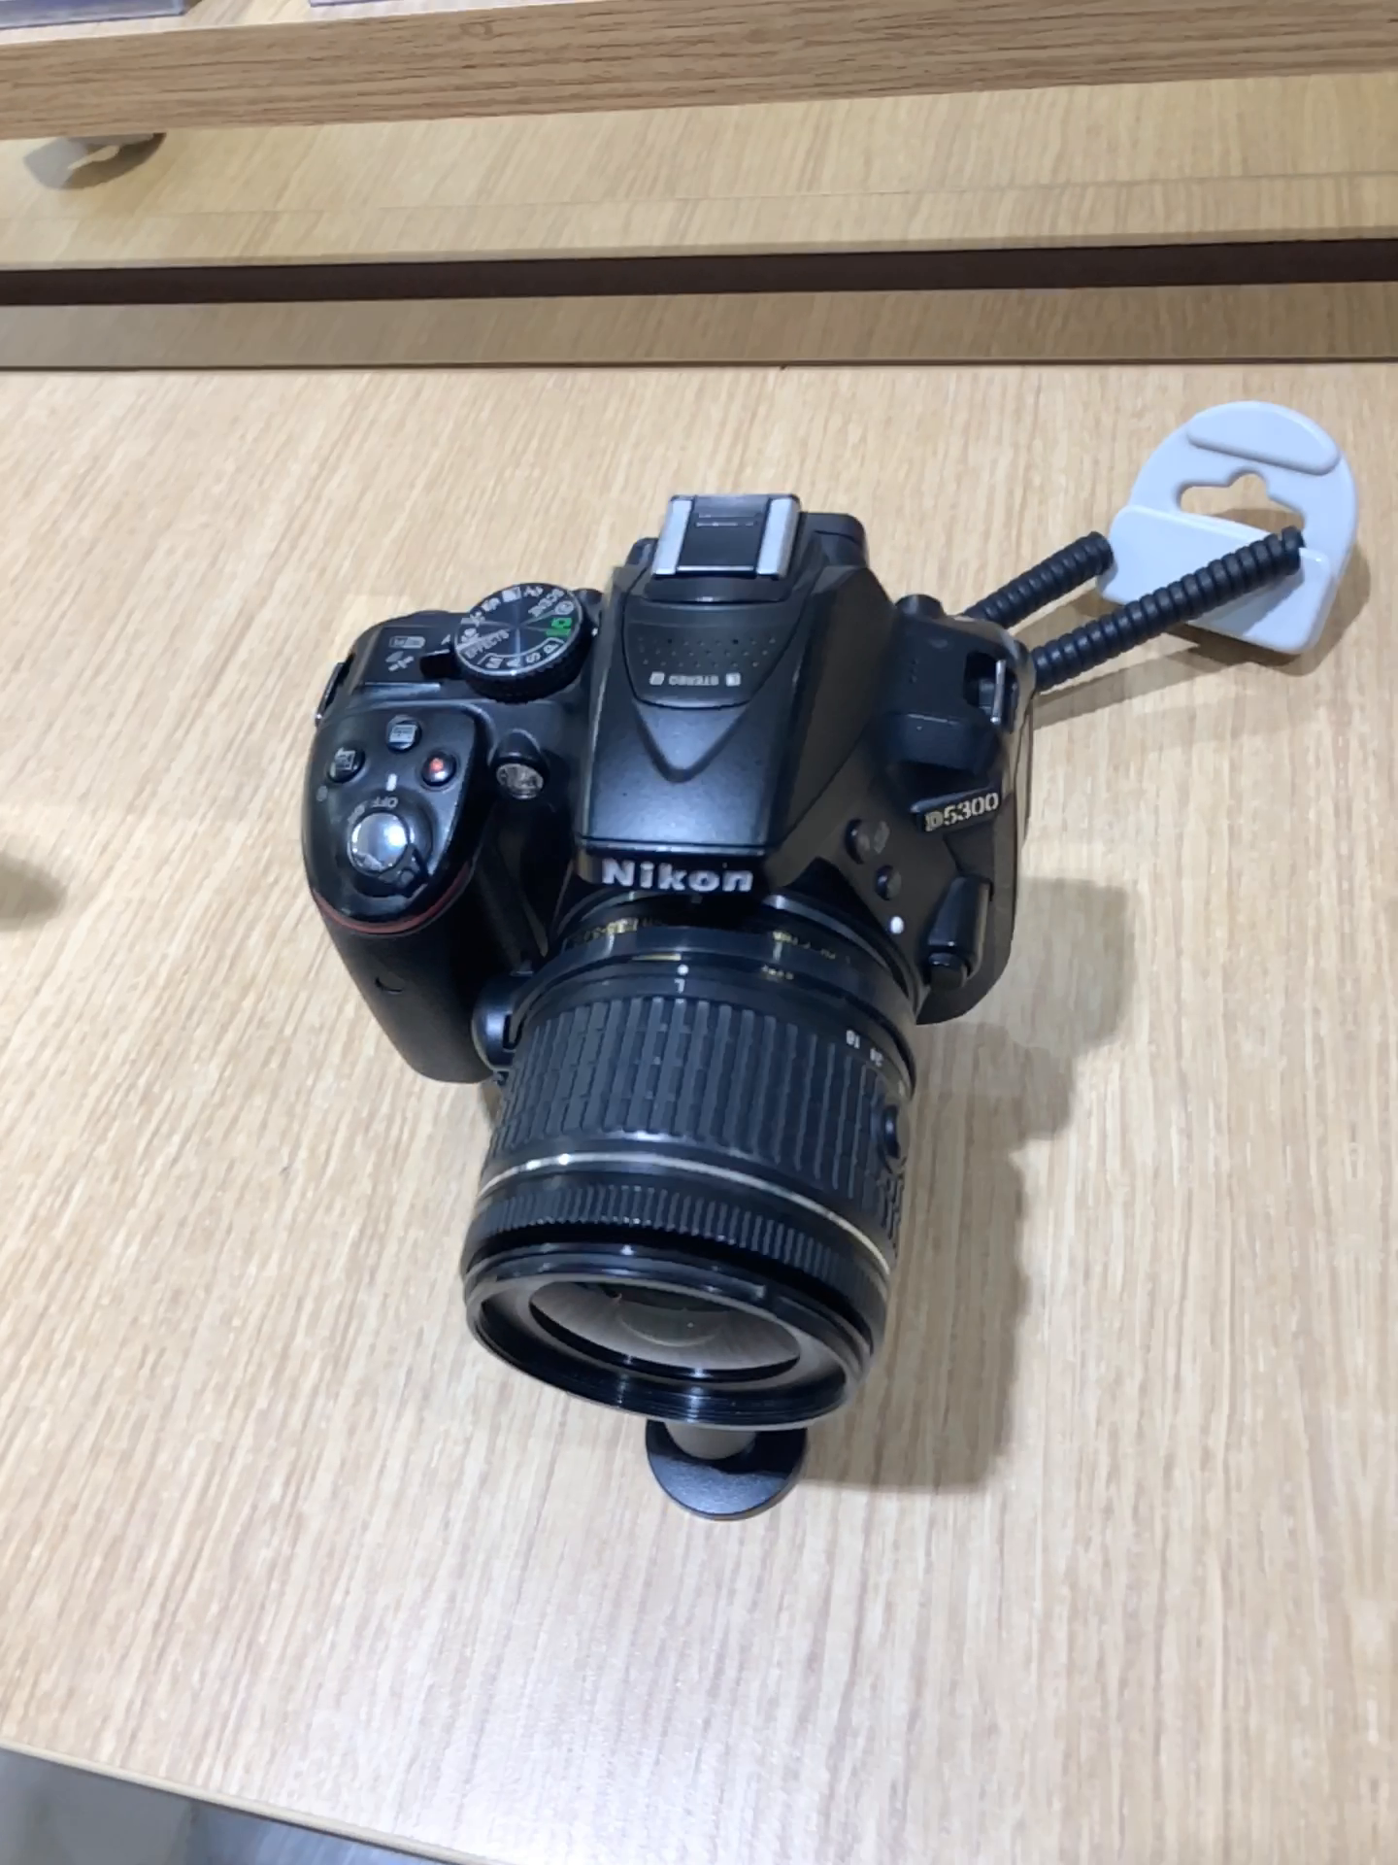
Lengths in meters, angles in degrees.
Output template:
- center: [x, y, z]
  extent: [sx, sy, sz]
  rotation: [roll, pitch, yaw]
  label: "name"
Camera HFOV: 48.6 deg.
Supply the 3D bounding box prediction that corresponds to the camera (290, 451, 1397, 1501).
- center: [0.029, 0.007, 0.233]
  extent: [0.120, 0.102, 0.111]
  rotation: [3, 54, 13]
  label: "camera"
